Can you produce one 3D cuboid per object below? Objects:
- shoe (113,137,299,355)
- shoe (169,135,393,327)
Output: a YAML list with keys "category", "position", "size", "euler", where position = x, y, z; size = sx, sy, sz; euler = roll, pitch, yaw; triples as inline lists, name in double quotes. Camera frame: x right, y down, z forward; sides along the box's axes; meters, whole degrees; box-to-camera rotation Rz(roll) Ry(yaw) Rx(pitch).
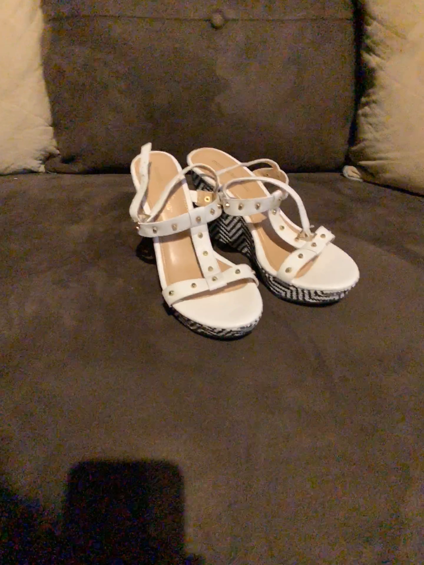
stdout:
- category: "shoe"
  position: [-0.026, -0.060, 0.494]
  size: [0.110, 0.099, 0.261]
  euler: [-12, 44, -20]
- category: "shoe"
  position: [0.063, -0.076, 0.518]
  size: [0.100, 0.099, 0.251]
  euler: [-25, 48, -32]
